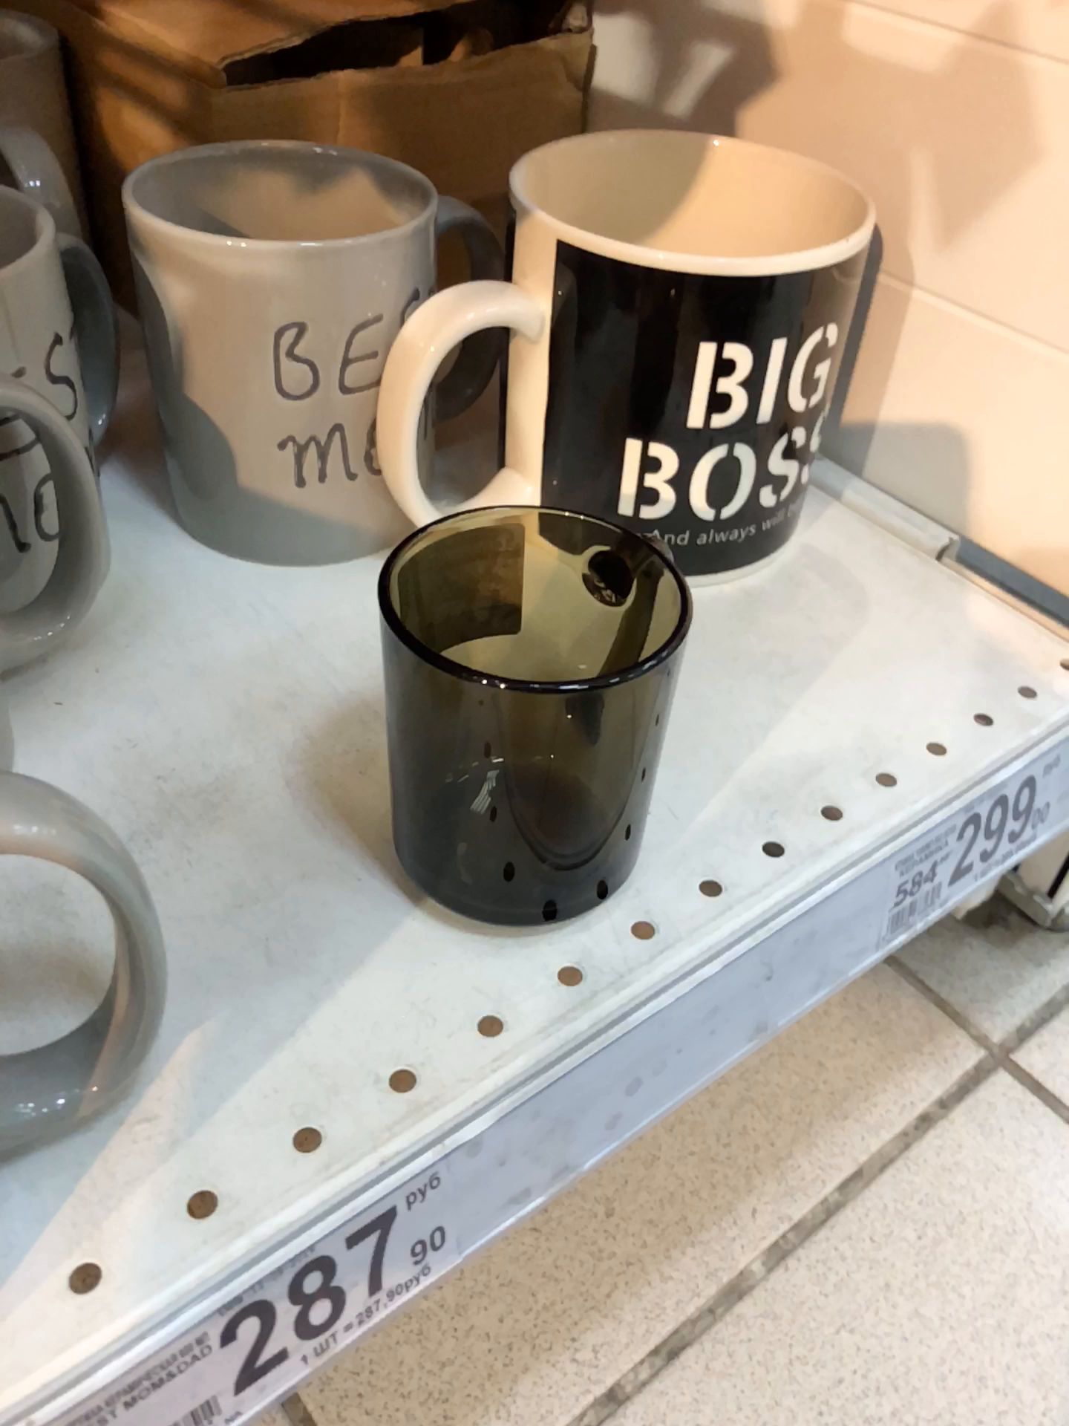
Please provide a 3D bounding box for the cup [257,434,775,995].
[{"bbox_3d":[-0.002,-0.006,0.302,0.082,0.074,0.106,22,43,18],"label":"cup"}]
